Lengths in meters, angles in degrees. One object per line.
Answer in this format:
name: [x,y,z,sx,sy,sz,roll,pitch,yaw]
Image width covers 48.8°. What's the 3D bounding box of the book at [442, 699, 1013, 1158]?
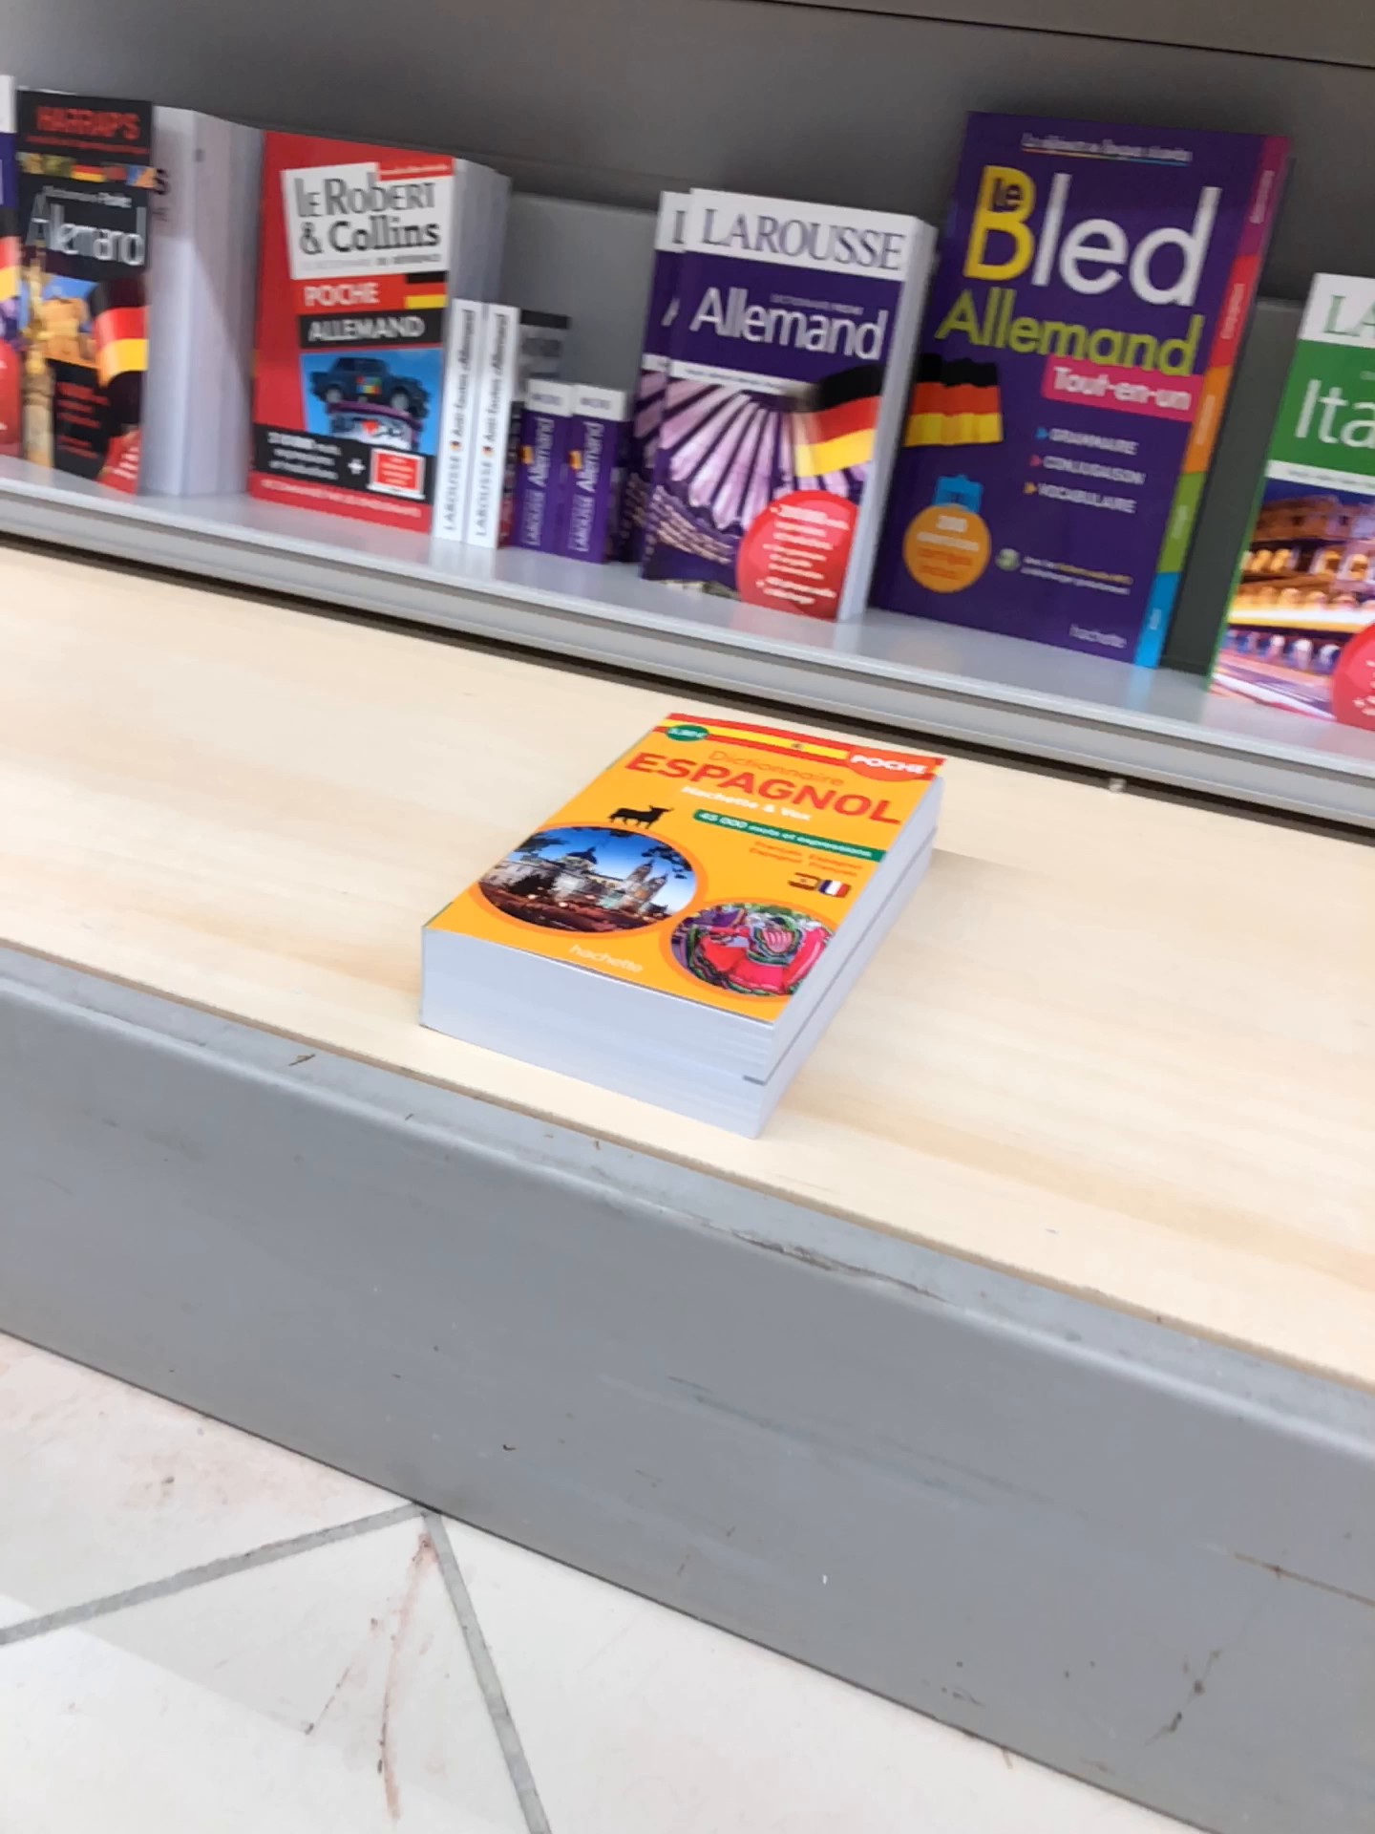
book: [0.022,-0.009,0.488,0.117,0.040,0.191,15,32,19]
